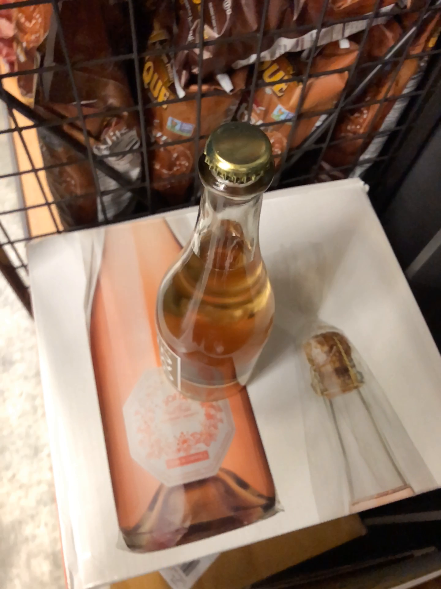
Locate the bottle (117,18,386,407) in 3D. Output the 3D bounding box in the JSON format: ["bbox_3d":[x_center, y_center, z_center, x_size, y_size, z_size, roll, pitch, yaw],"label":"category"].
[{"bbox_3d":[-0.002,-0.014,0.343,0.095,0.305,0.099,2,64,-4],"label":"bottle"}]
